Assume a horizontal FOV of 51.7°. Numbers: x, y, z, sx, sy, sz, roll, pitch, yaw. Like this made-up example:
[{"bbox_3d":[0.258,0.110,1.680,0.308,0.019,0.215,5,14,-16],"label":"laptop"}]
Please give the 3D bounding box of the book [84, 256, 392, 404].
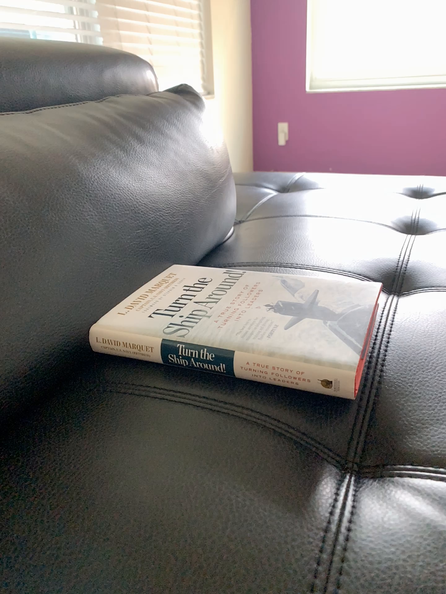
[{"bbox_3d":[0.020,0.013,0.402,0.226,0.029,0.153,7,27,23],"label":"book"}]
